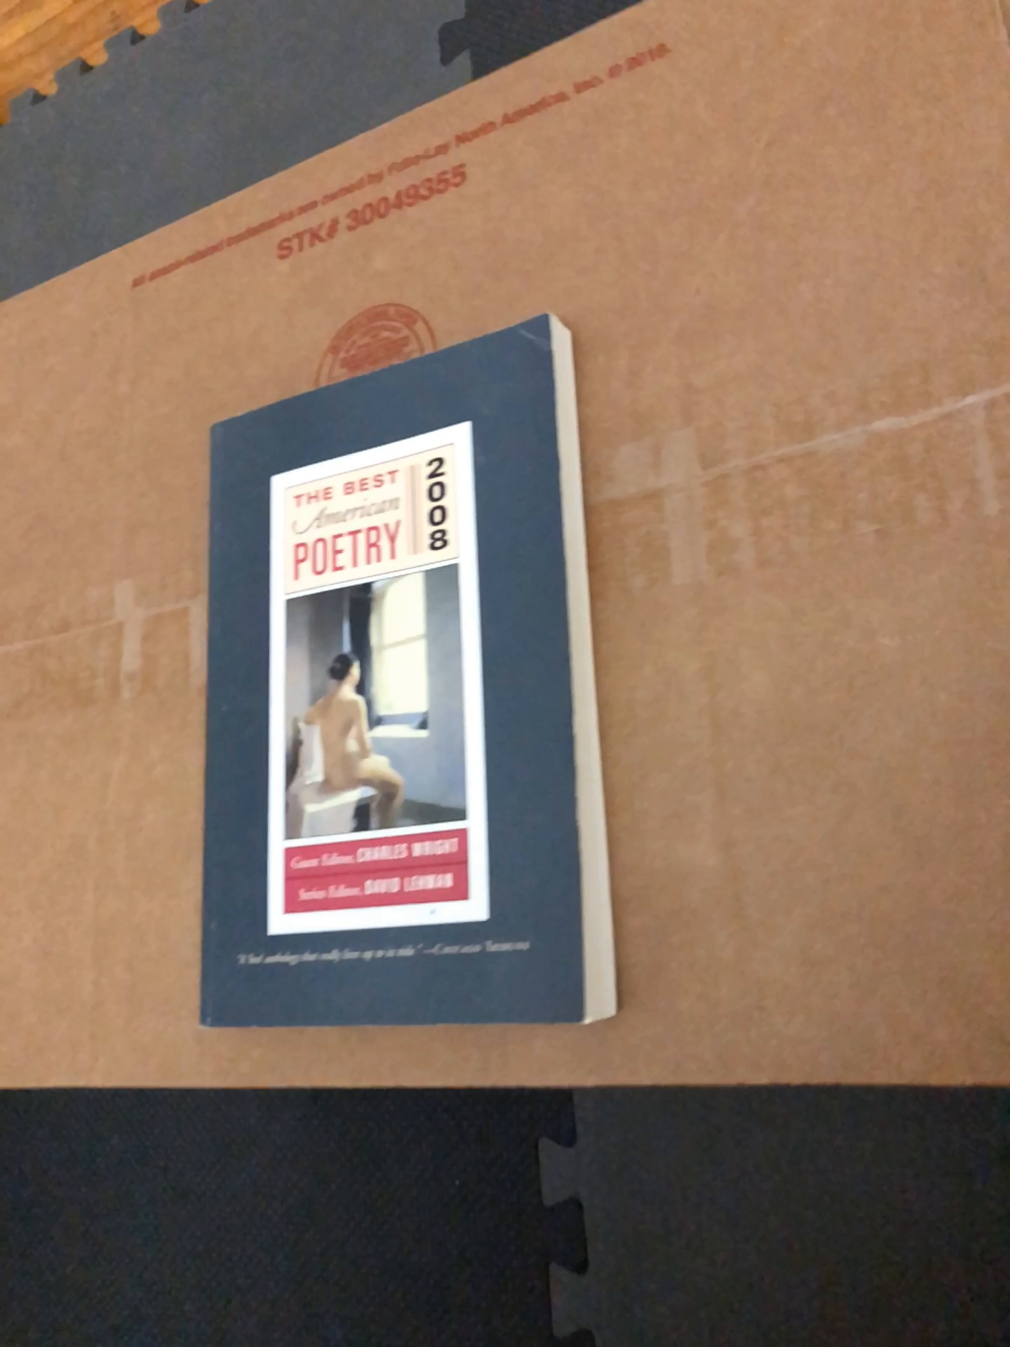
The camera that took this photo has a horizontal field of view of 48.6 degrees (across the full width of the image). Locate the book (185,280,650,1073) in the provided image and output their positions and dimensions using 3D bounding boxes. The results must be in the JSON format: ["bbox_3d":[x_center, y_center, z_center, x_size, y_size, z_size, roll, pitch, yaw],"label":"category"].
[{"bbox_3d":[-0.038,0.004,0.358,0.150,0.020,0.230,-12,73,27],"label":"book"}]
